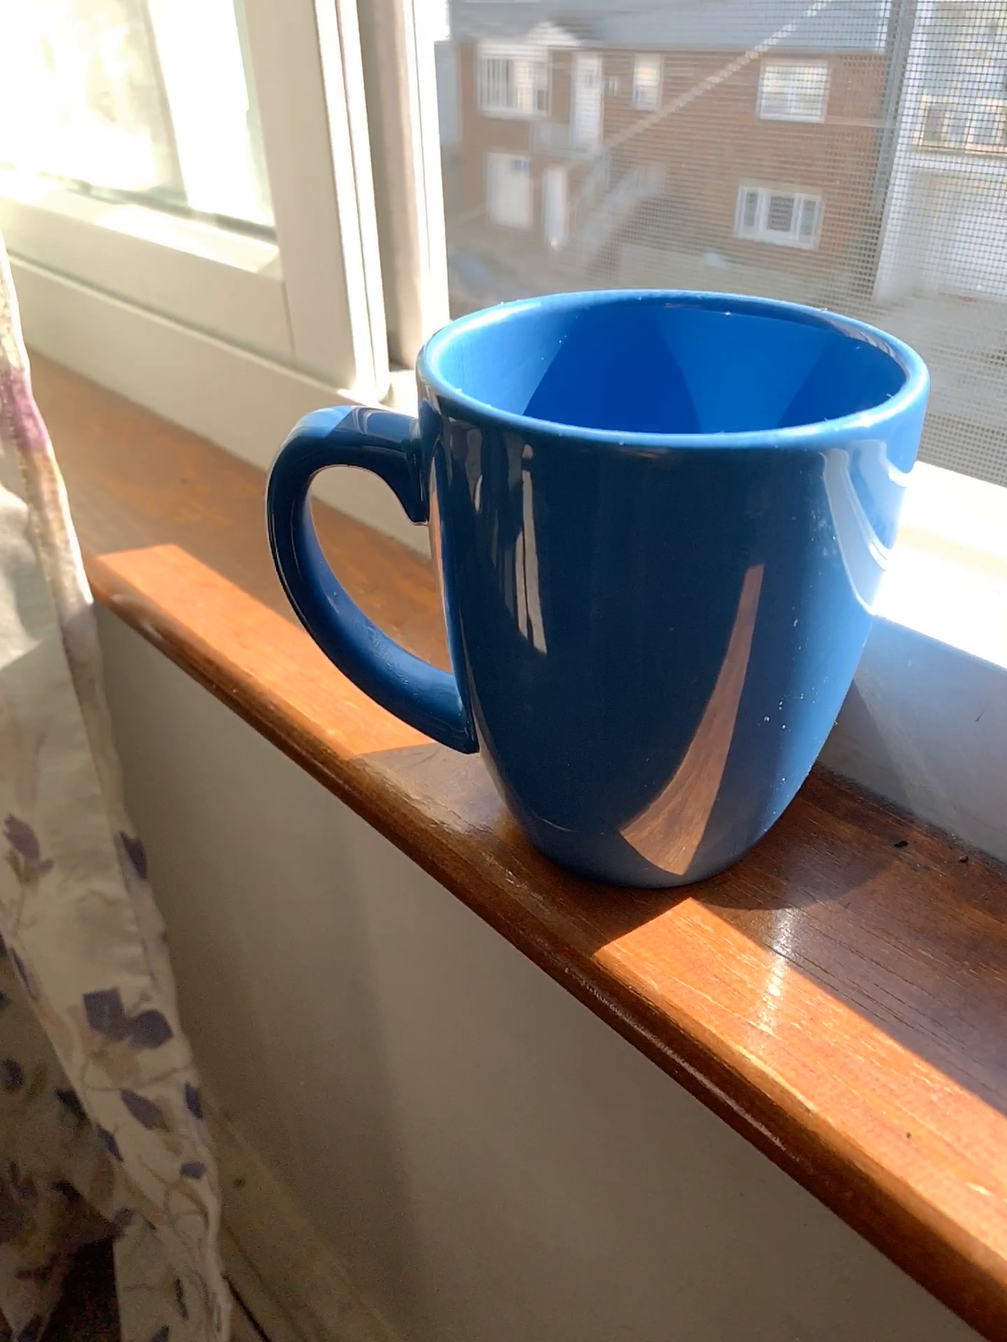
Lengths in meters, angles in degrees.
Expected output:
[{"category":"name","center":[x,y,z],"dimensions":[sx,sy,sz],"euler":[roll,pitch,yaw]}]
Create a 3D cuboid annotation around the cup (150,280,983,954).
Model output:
[{"category":"cup","center":[0.013,-0.015,0.202],"dimensions":[0.113,0.095,0.082],"euler":[3,34,8]}]
